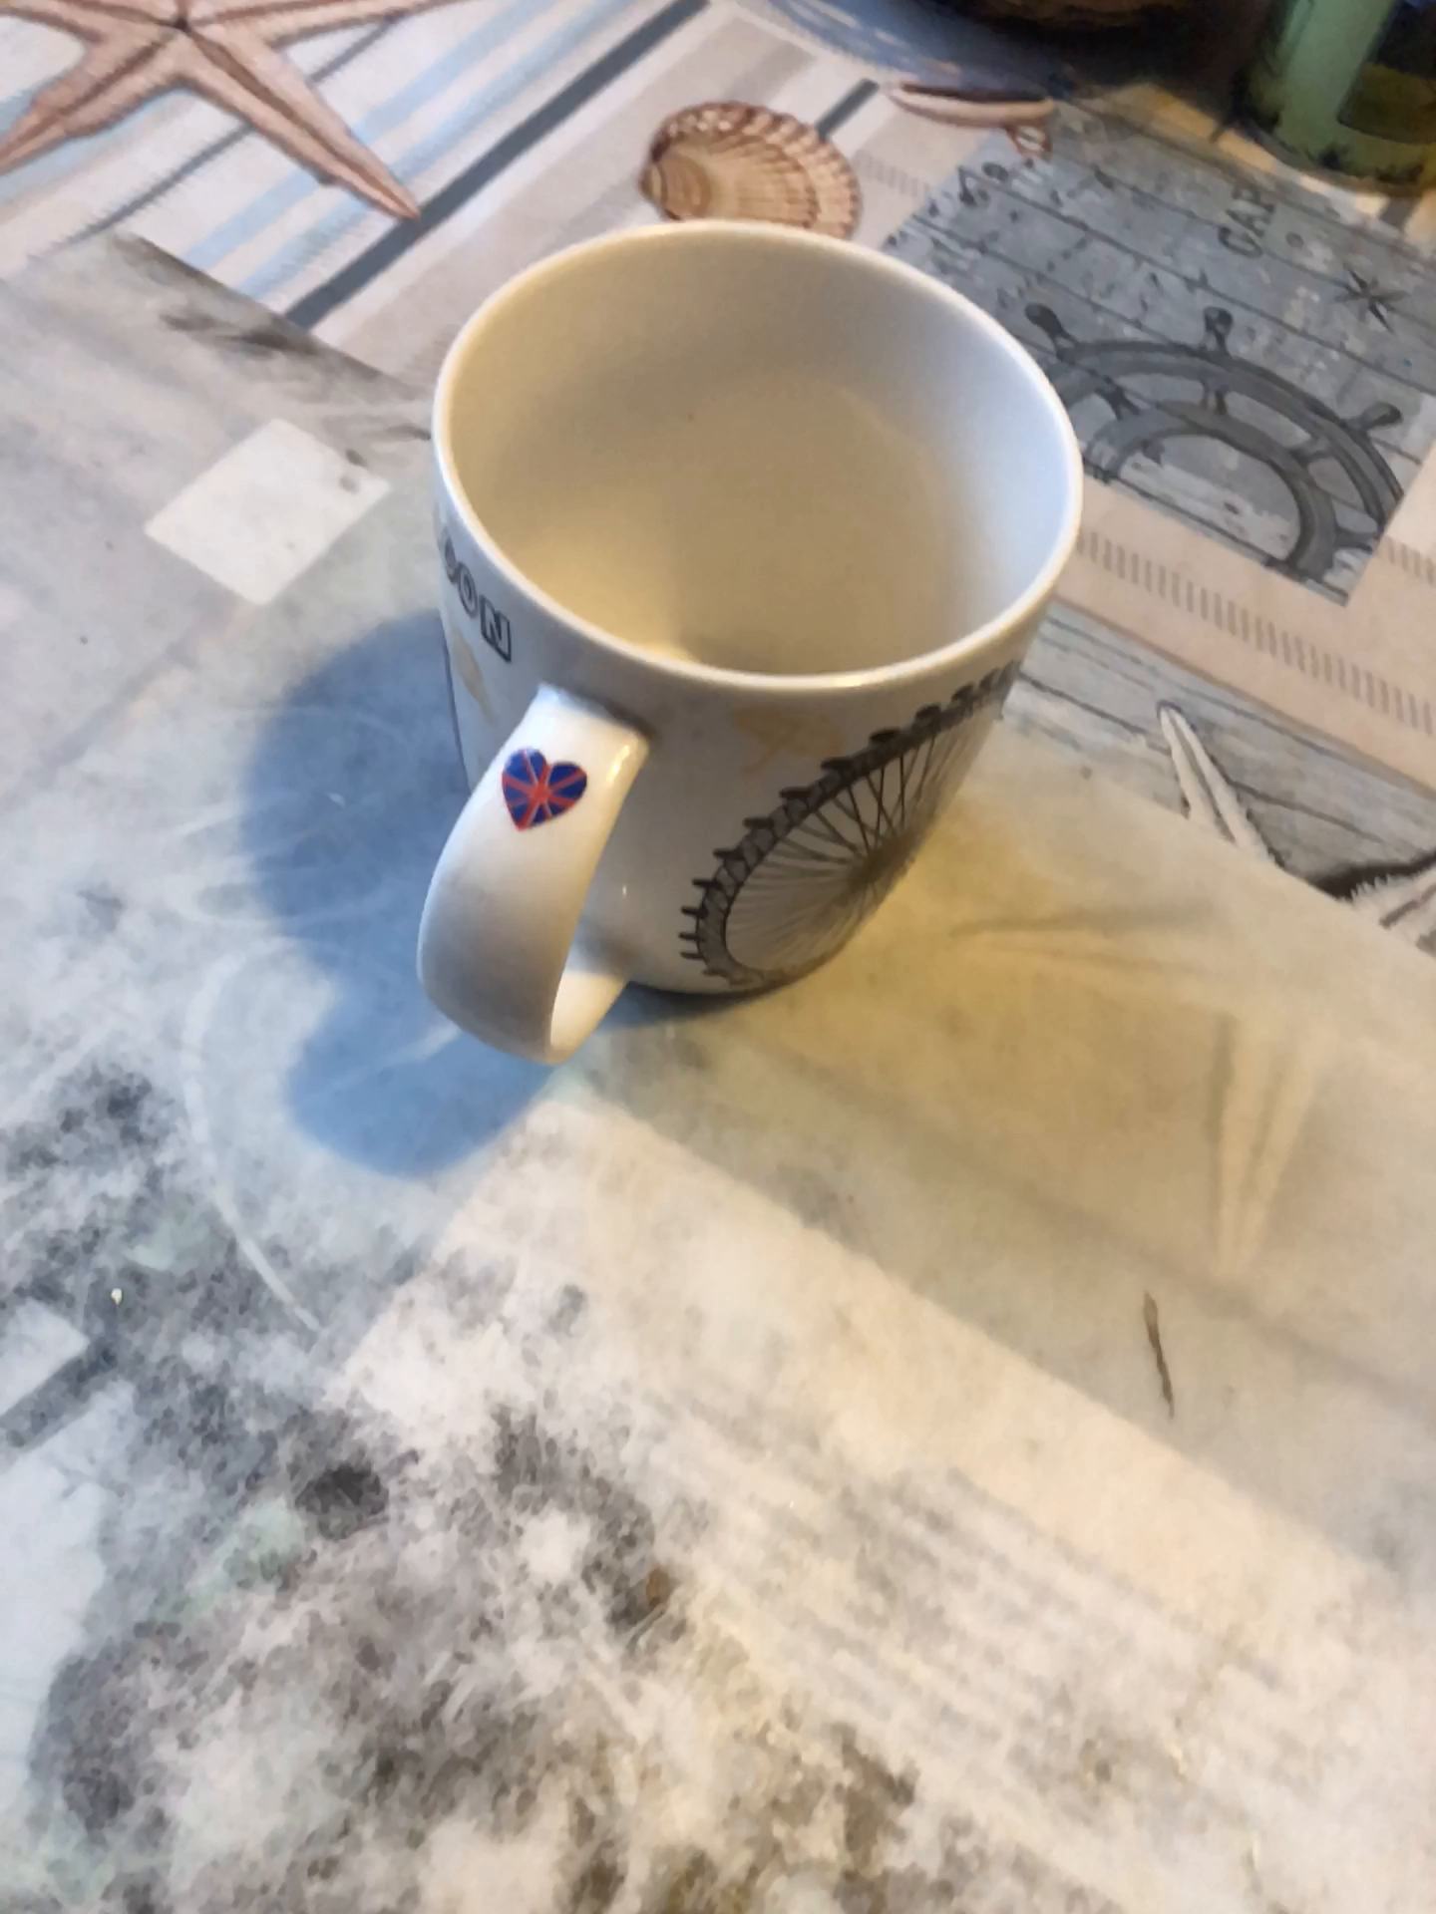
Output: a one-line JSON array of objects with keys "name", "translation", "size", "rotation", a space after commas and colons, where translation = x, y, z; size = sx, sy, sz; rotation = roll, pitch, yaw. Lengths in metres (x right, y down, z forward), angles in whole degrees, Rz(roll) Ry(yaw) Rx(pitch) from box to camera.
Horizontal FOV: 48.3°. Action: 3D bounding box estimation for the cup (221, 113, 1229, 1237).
[{"name": "cup", "translation": [0.005, -0.043, 0.241], "size": [0.084, 0.086, 0.121], "rotation": [25, 59, 11]}]
